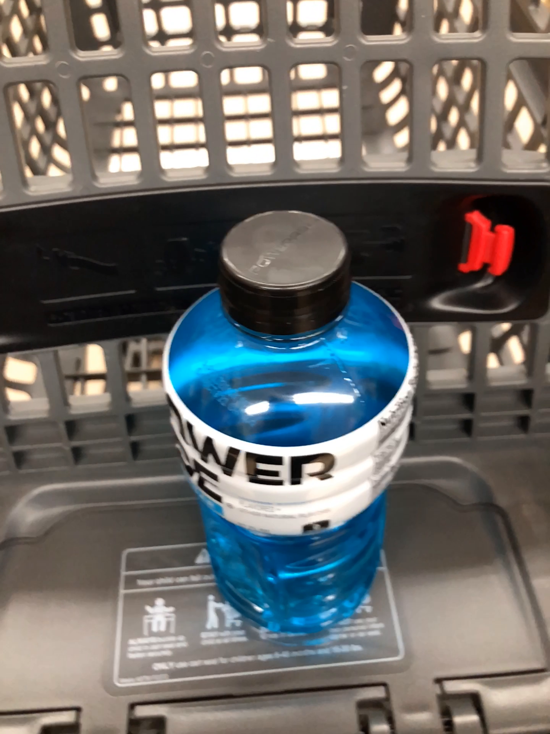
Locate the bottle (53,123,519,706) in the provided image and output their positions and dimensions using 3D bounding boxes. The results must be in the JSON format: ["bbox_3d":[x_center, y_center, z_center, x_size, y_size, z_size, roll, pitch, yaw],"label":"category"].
[{"bbox_3d":[0.007,0.034,0.266,0.100,0.220,0.100,-2,46,2],"label":"bottle"}]
